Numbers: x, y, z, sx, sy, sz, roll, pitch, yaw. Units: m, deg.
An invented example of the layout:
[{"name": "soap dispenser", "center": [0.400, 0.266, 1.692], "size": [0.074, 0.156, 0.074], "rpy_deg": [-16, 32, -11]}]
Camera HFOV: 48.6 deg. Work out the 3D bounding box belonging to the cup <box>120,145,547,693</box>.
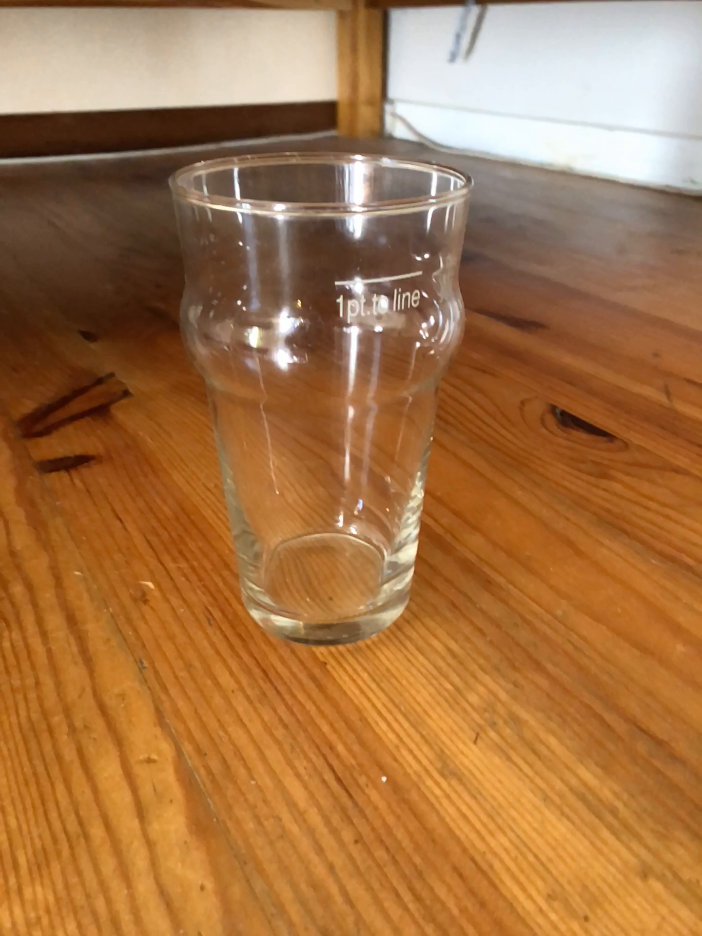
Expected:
[{"name": "cup", "center": [-0.009, -0.024, 0.278], "size": [0.095, 0.151, 0.092], "rpy_deg": [2, 31, -1]}]
